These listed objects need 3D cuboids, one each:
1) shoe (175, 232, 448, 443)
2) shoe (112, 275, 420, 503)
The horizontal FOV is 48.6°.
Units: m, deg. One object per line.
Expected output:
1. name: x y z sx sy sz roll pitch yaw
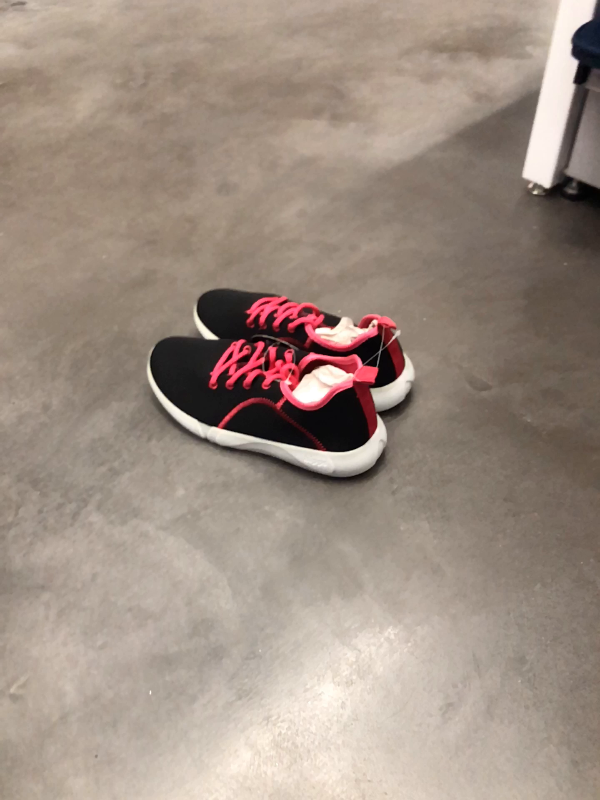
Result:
1. shoe: 0.009 -0.066 0.636 0.230 0.090 0.101 23 53 23
2. shoe: -0.027 -0.016 0.571 0.230 0.090 0.101 19 51 19
